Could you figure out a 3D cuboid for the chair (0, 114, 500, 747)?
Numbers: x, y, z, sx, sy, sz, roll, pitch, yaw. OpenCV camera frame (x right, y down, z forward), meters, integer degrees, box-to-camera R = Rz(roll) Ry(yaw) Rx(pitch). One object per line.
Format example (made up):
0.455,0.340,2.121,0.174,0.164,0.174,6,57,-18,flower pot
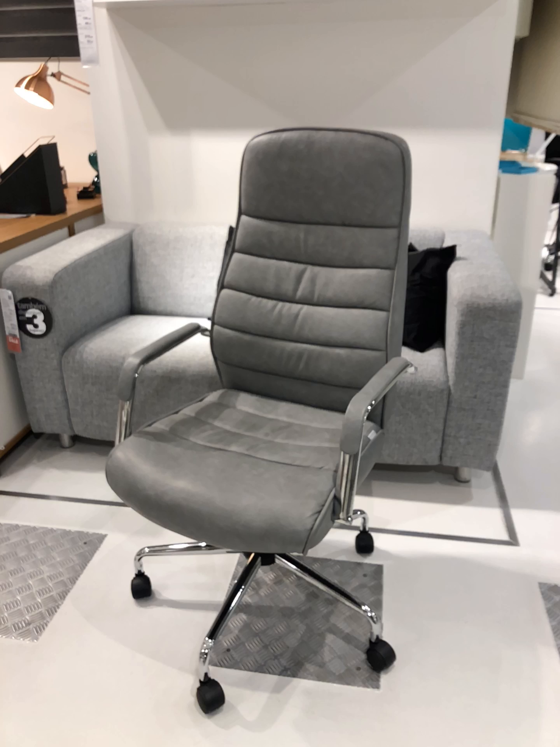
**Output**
-0.027,0.029,1.323,0.721,1.053,0.724,11,26,24,chair
